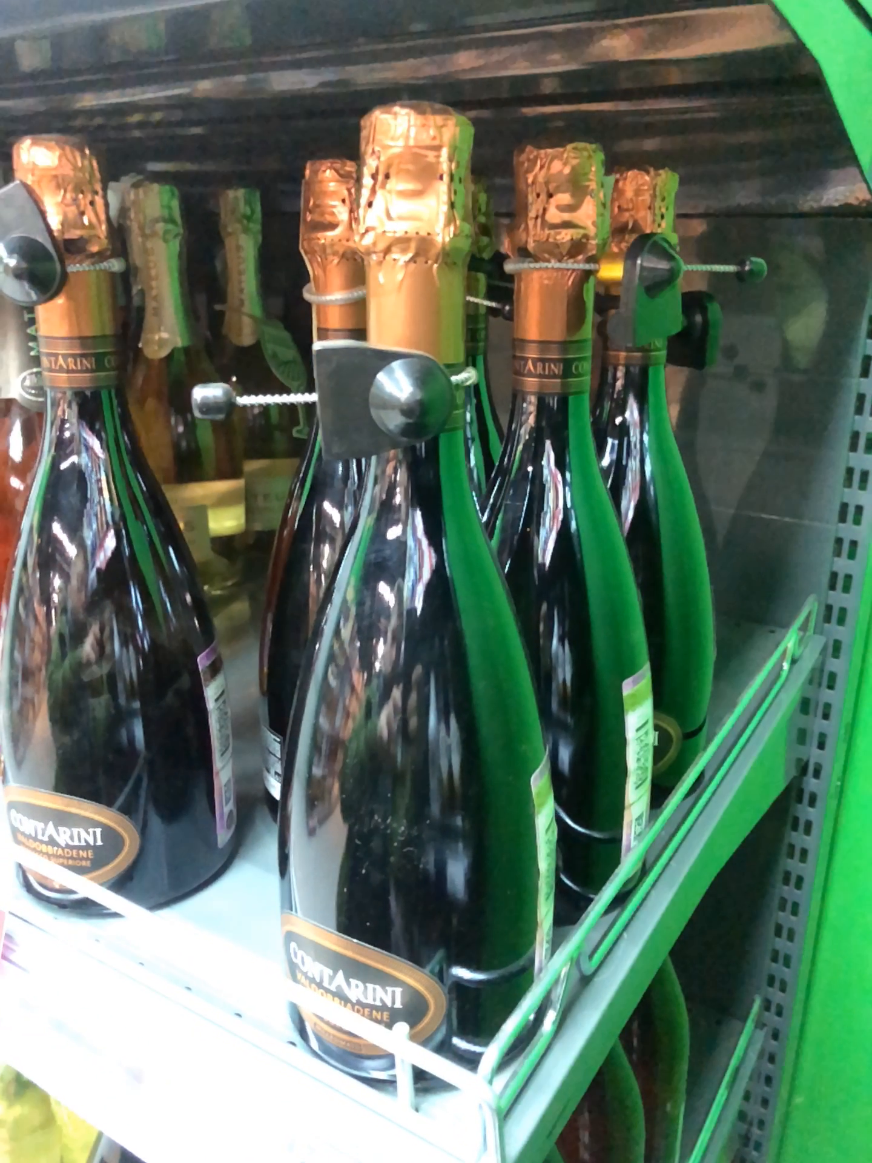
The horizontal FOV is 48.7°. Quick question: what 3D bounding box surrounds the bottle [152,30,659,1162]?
[{"bbox_3d":[-0.006,0.009,0.305,0.100,0.299,0.100,1,17,0],"label":"bottle"}]
